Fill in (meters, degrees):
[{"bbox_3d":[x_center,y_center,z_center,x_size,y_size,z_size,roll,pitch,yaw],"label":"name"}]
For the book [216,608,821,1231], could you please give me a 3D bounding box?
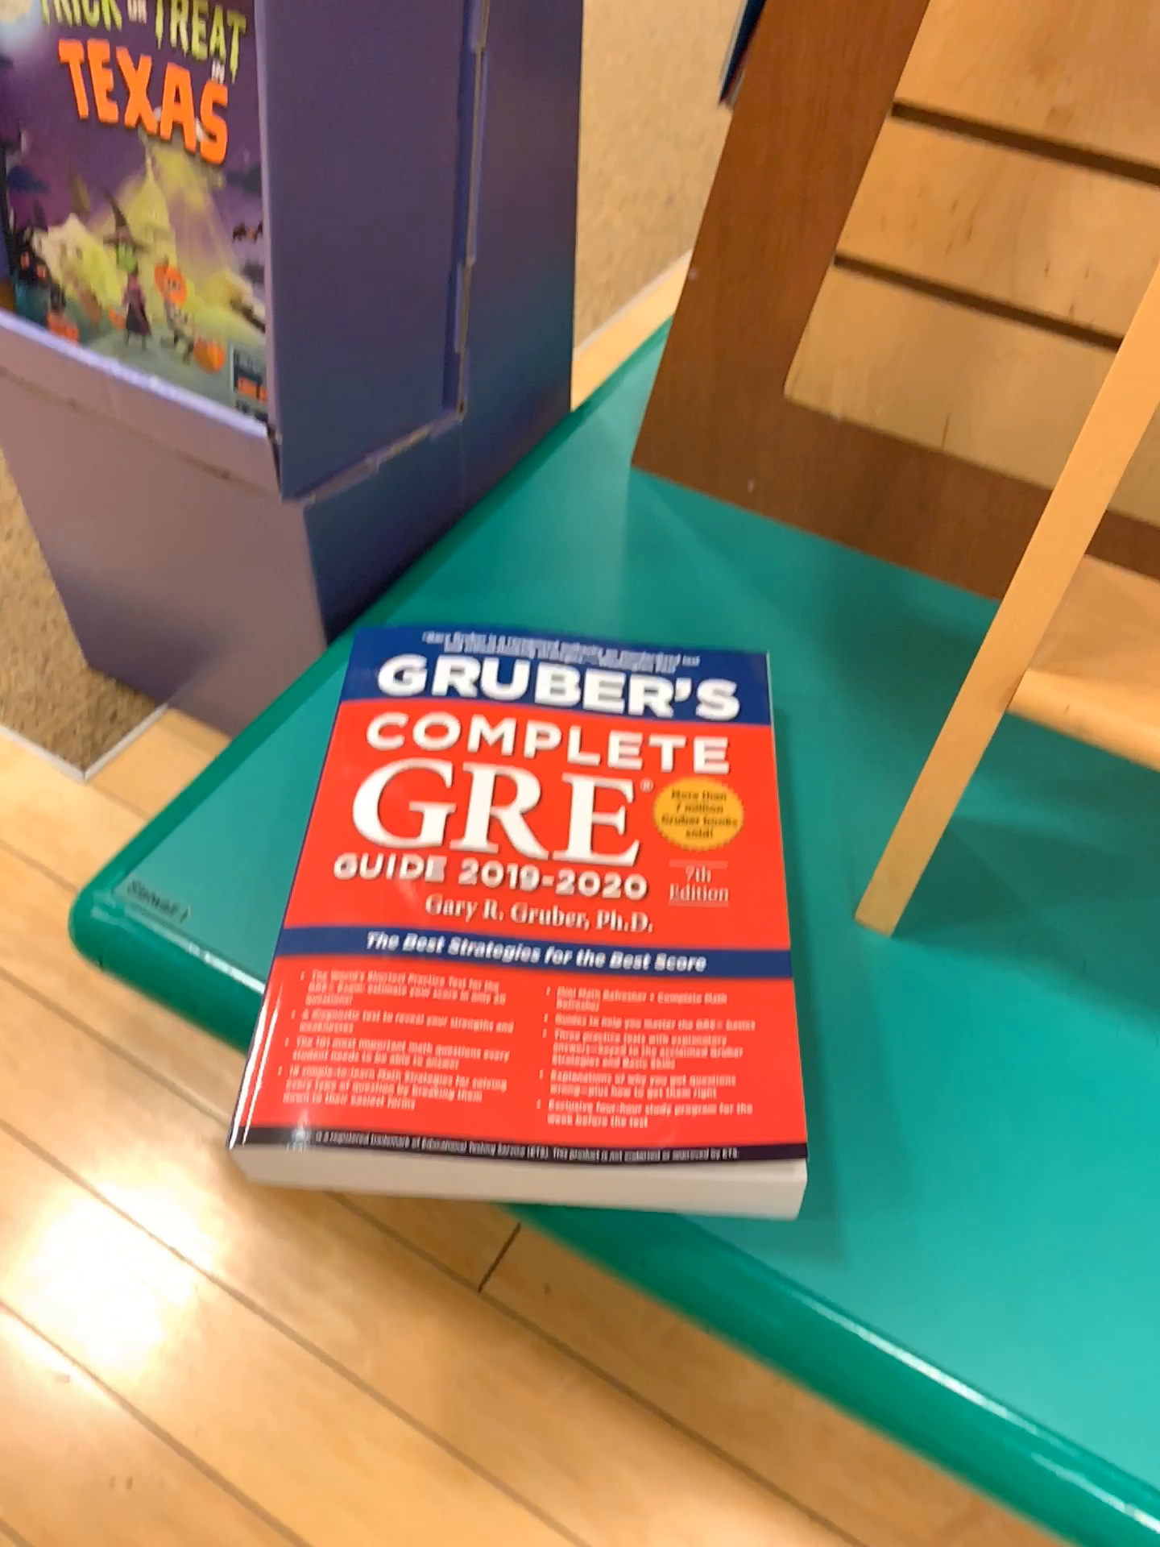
[{"bbox_3d":[-0.015,0.046,0.541,0.220,0.040,0.291,4,50,0],"label":"book"}]
